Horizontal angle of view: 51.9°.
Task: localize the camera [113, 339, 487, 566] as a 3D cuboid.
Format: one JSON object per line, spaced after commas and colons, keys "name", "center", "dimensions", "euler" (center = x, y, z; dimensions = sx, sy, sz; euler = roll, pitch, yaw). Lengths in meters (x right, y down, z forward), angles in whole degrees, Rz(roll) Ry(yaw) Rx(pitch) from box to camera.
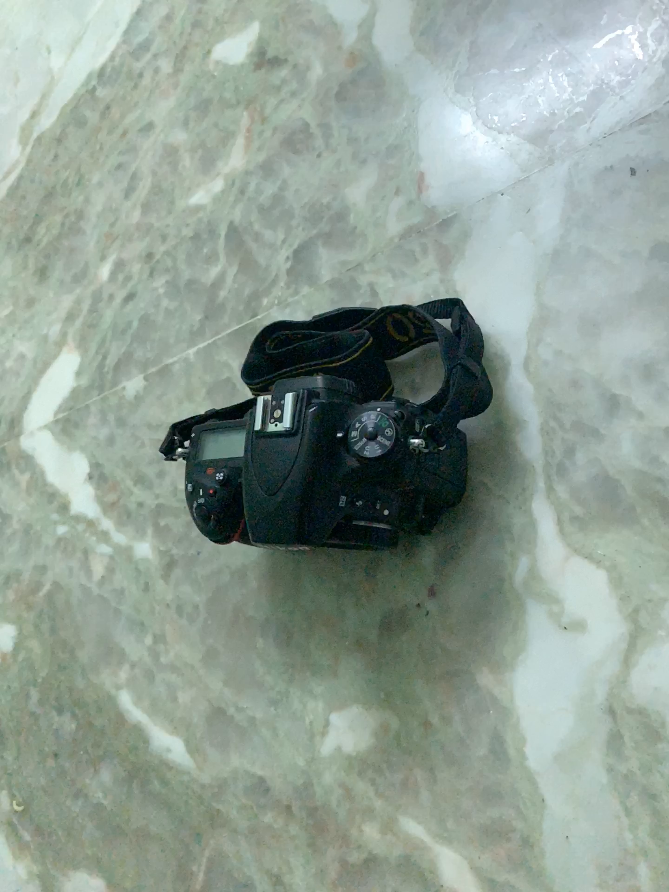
{"name": "camera", "center": [-0.014, 0.012, 0.345], "dimensions": [0.151, 0.100, 0.080], "euler": [-3, 75, 32]}
